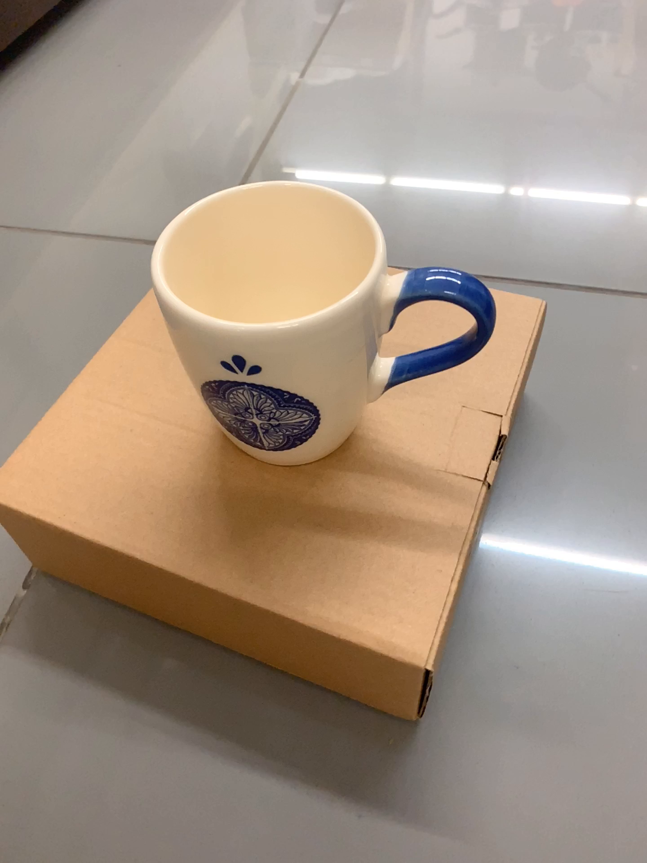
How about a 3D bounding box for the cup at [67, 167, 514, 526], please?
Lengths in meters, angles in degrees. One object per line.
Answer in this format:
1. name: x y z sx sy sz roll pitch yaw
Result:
1. cup: -0.005 -0.037 0.274 0.140 0.090 0.090 10 53 12
